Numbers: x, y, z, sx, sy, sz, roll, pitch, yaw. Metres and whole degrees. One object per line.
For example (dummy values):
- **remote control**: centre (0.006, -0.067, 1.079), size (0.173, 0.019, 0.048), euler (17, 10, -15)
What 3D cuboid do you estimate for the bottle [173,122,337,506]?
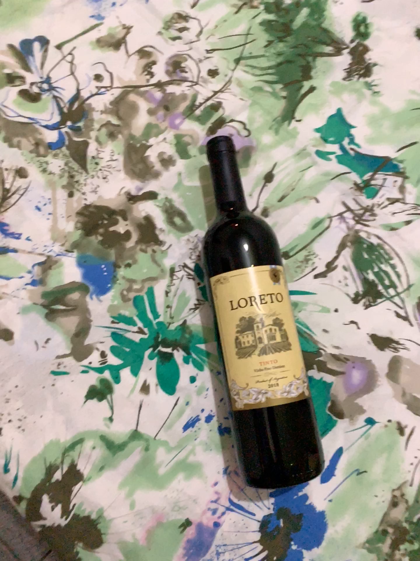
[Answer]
- **bottle**: centre (0.032, 0.018, 0.380), size (0.080, 0.050, 0.310), euler (-8, 80, -8)
